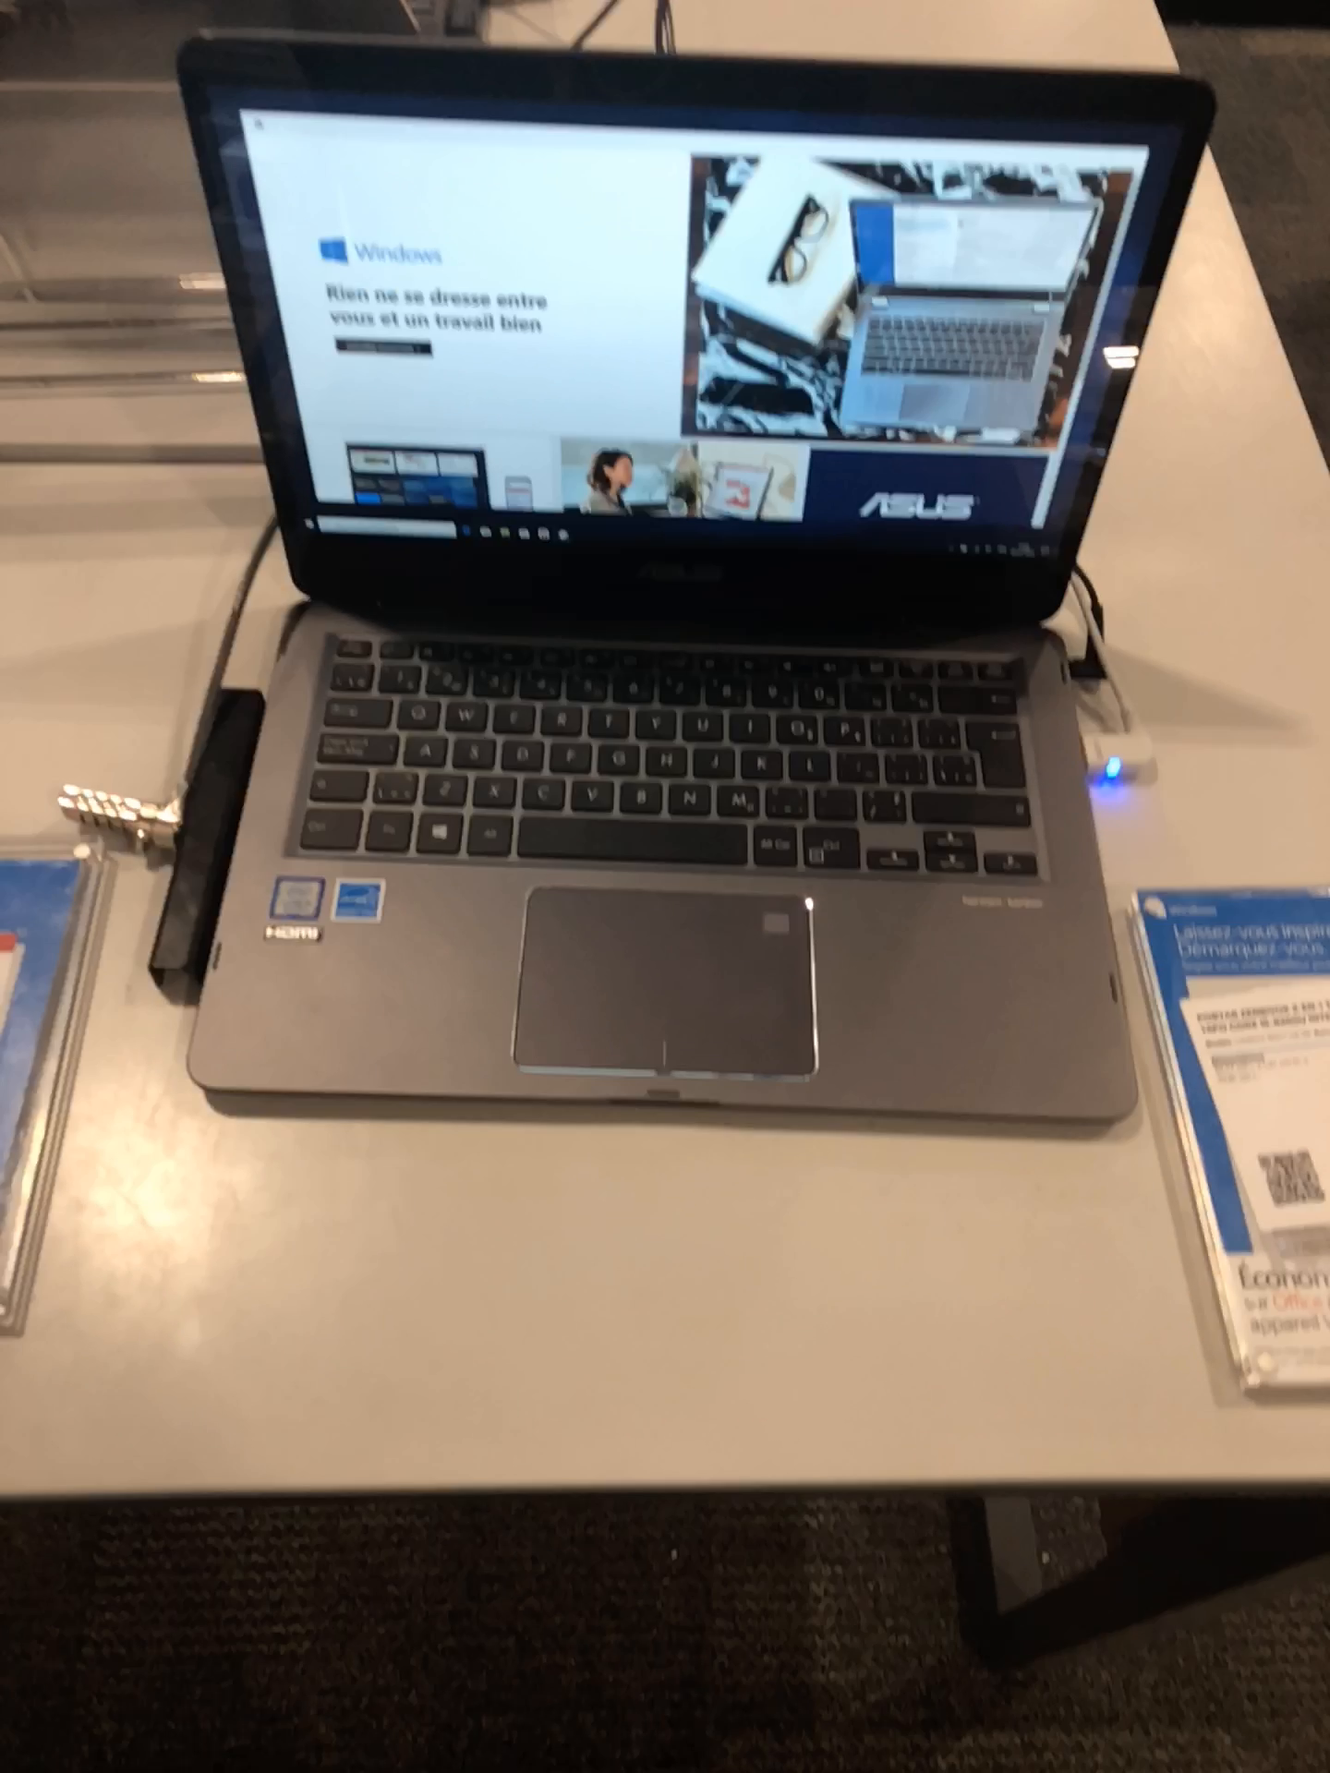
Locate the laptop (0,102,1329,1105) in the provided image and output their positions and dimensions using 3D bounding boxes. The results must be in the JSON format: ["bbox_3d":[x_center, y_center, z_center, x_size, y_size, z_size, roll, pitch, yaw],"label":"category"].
[{"bbox_3d":[0.003,-0.081,0.456,0.302,0.217,0.225,2,55,1],"label":"laptop"}]
